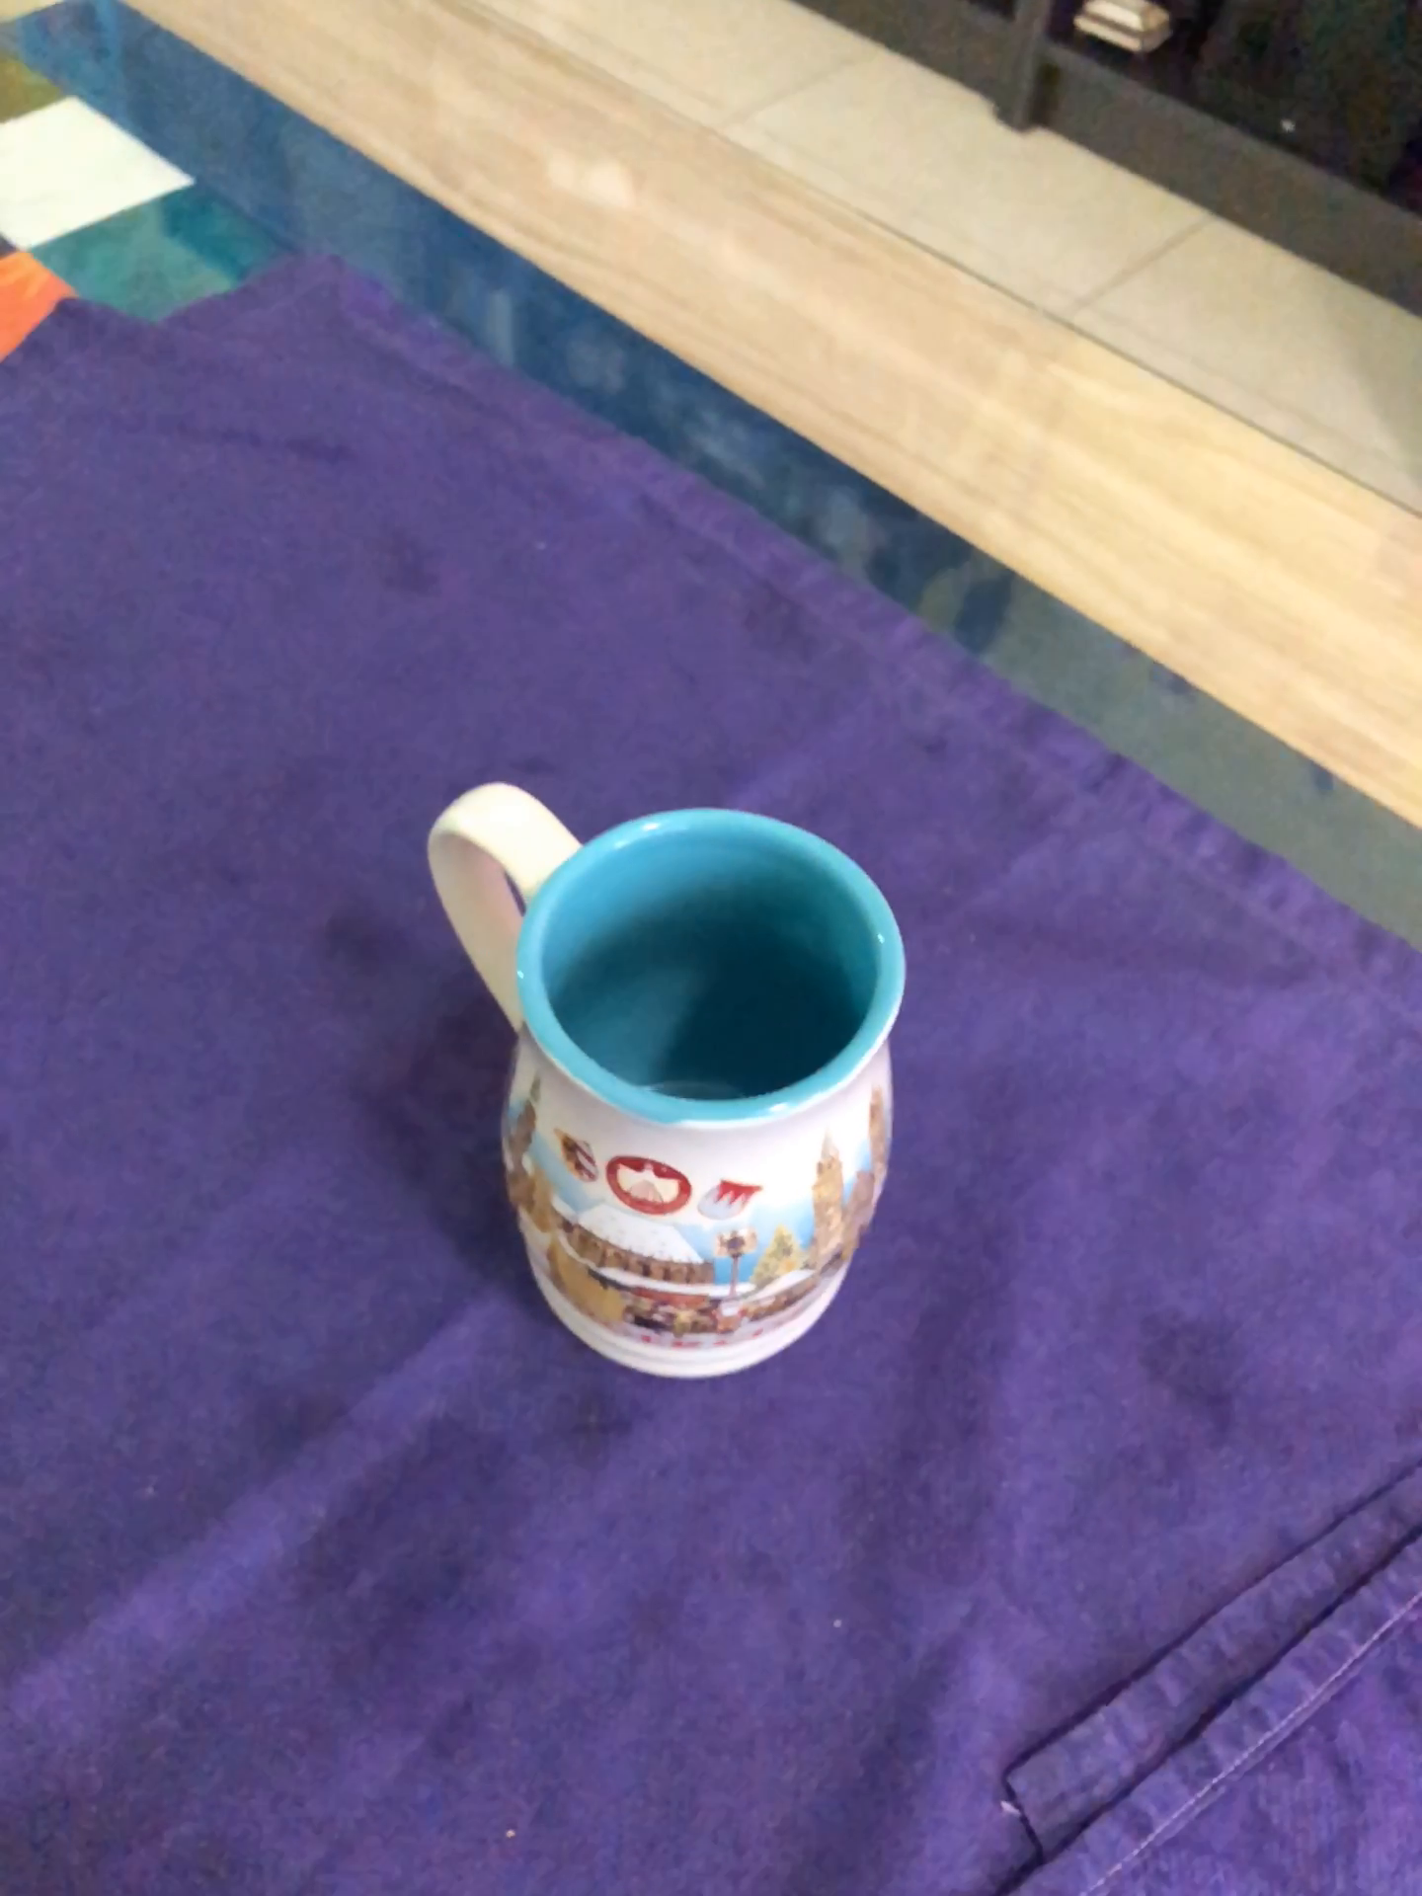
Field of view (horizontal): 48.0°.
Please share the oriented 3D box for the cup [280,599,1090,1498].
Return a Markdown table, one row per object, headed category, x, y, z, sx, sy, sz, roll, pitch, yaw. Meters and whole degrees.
| category | x | y | z | sx | sy | sz | roll | pitch | yaw |
| --- | --- | --- | --- | --- | --- | --- | --- | --- | --- |
| cup | -0.009 | 0.021 | 0.320 | 0.080 | 0.110 | 0.120 | -36 | 64 | -25 |
